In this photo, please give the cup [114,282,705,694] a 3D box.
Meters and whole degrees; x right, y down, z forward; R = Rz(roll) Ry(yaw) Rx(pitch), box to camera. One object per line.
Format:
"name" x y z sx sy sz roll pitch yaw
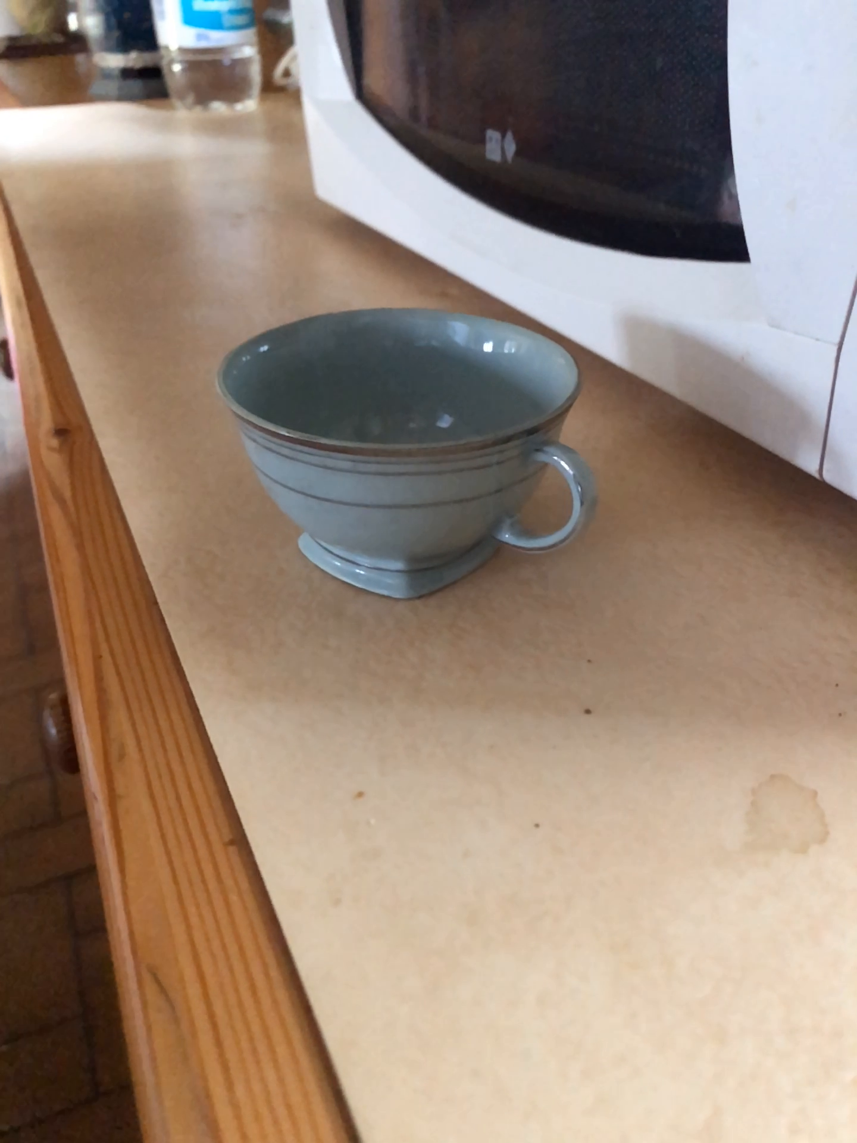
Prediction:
"cup" -0.003 -0.028 0.218 0.100 0.040 0.080 21 40 31
